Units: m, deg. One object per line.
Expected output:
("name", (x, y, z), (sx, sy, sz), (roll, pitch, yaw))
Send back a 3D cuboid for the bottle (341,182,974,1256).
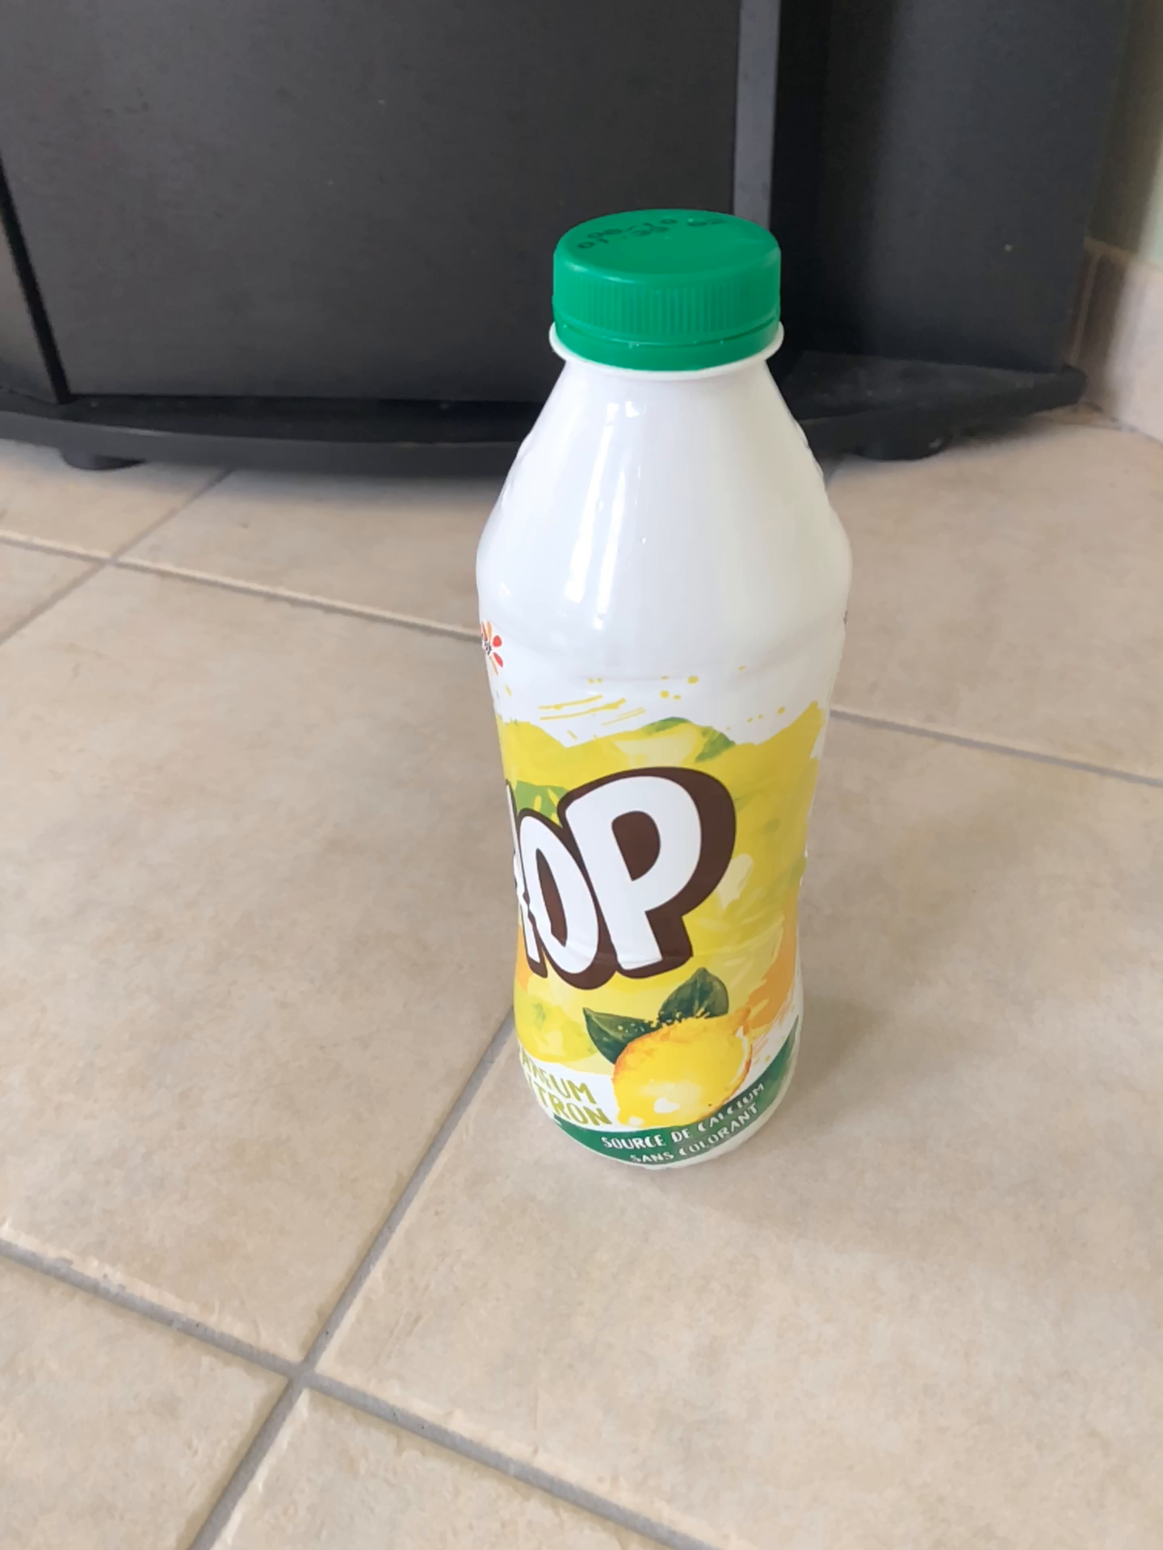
("bottle", (0.018, -0.002, 0.301), (0.080, 0.229, 0.080), (-2, 39, 1))
